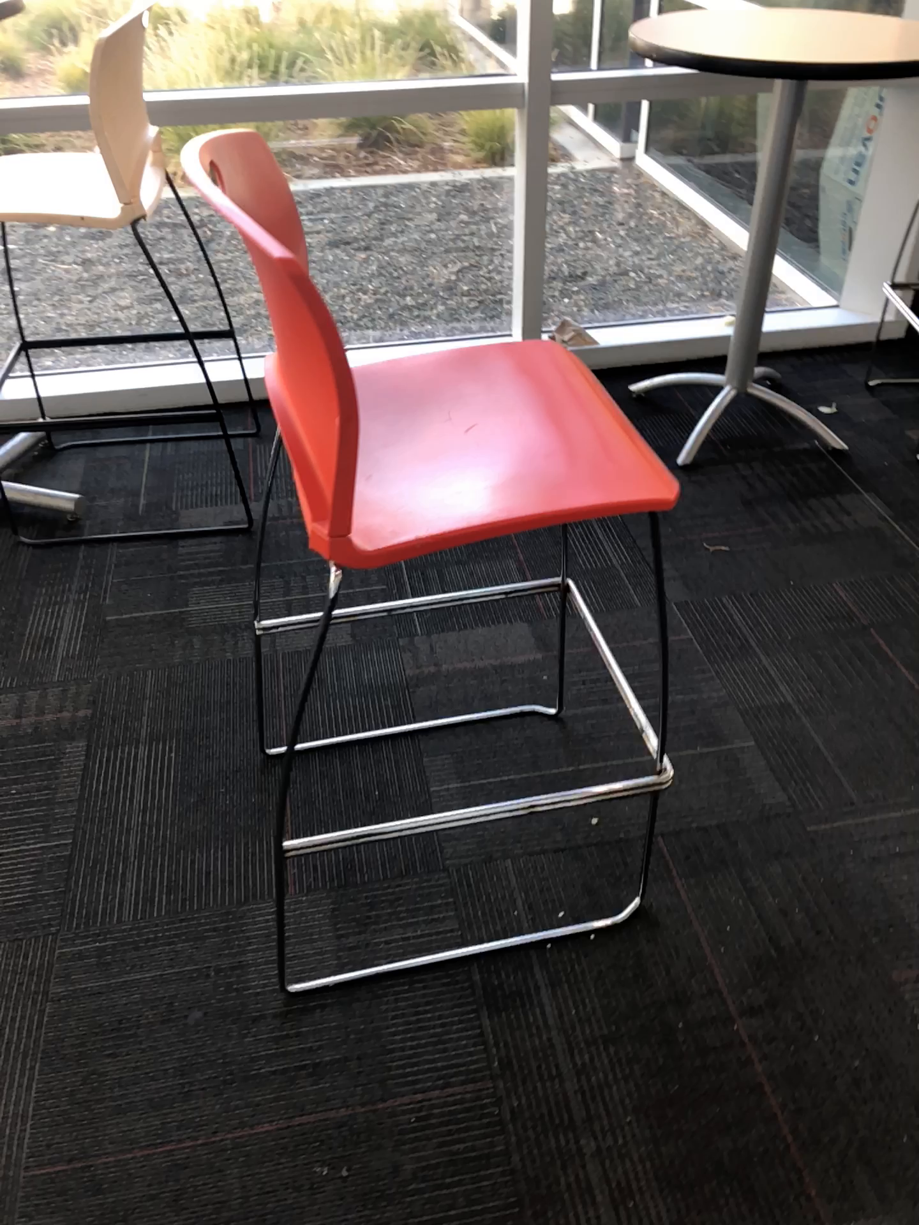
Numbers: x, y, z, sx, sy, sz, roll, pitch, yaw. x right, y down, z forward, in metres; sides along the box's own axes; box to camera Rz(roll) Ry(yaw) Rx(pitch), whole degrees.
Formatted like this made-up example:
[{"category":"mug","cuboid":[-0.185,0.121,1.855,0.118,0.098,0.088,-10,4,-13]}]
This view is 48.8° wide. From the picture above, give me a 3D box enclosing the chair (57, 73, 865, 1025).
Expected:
[{"category":"chair","cuboid":[-0.039,-0.082,1.328,0.660,0.995,0.593,-9,38,-11]}]
